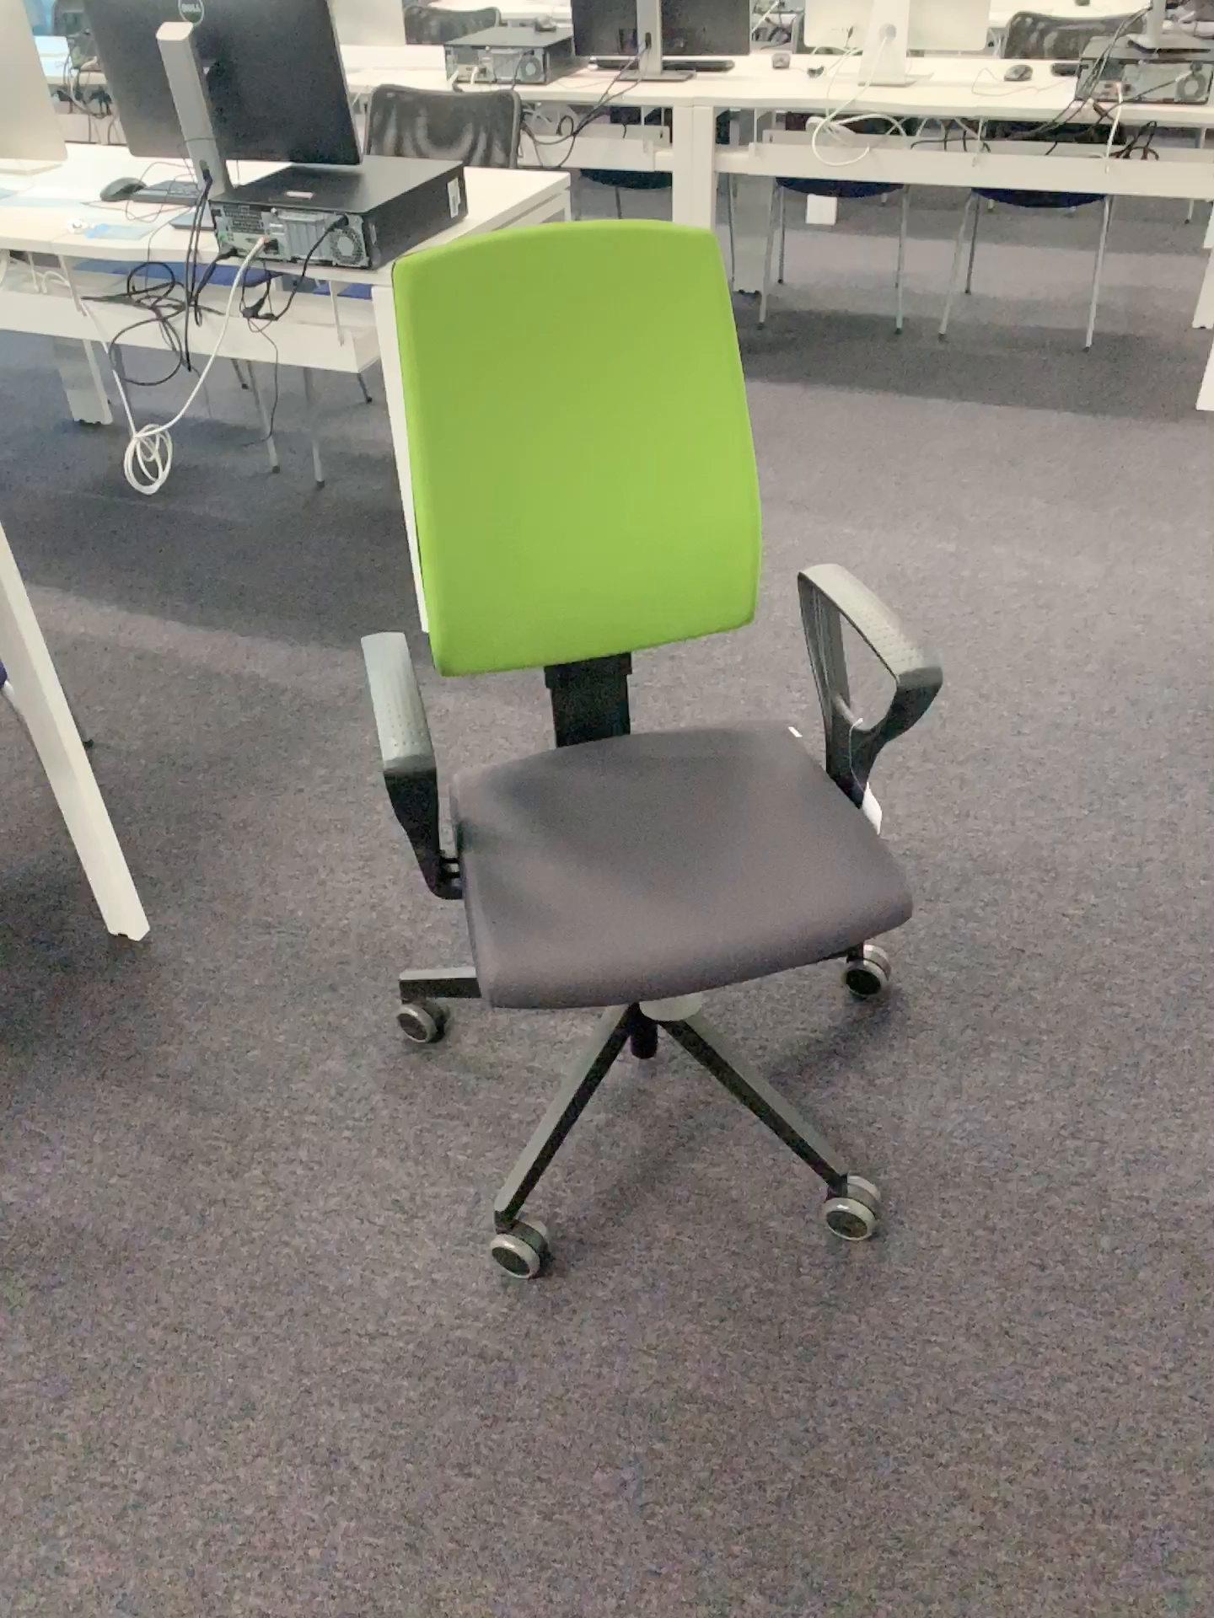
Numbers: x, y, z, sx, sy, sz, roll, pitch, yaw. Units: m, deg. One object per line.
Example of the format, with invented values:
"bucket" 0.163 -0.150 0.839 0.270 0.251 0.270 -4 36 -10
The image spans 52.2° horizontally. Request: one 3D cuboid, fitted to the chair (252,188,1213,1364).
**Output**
"chair" 0.086 -0.038 1.442 0.721 1.054 0.673 -12 40 -12
